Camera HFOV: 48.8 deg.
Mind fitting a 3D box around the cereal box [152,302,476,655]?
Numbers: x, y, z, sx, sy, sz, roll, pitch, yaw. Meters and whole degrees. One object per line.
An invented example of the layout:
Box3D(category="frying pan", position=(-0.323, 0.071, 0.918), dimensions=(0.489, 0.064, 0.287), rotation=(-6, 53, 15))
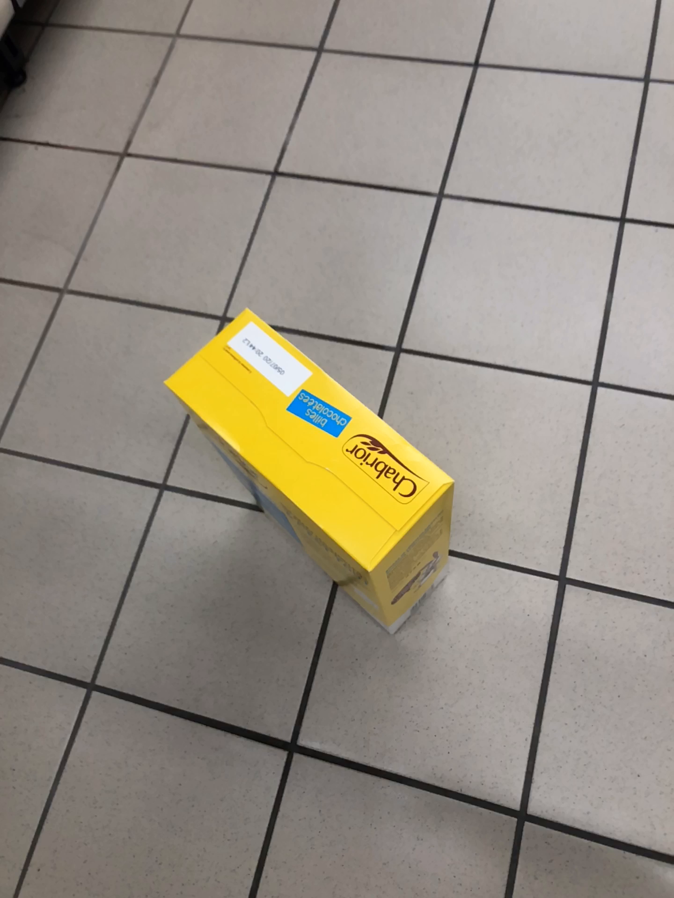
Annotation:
Box3D(category="cereal box", position=(-0.002, 0.043, 0.586), dimensions=(0.090, 0.269, 0.200), rotation=(-45, 69, -10))
